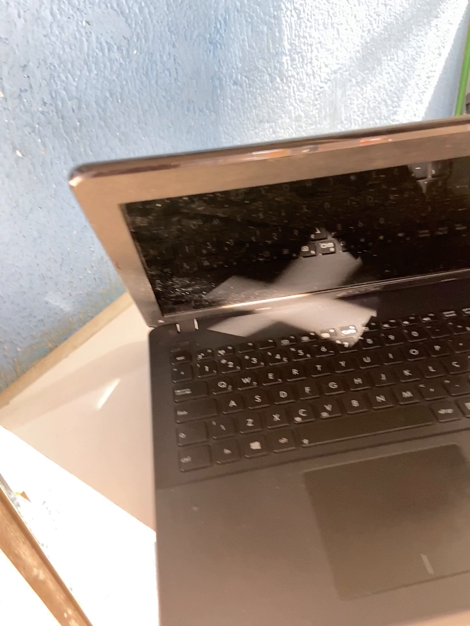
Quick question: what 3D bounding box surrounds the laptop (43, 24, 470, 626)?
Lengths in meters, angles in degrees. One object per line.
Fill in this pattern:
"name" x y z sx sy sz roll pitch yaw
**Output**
"laptop" 0.125 -0.013 0.279 0.373 0.190 0.240 -9 40 -4
